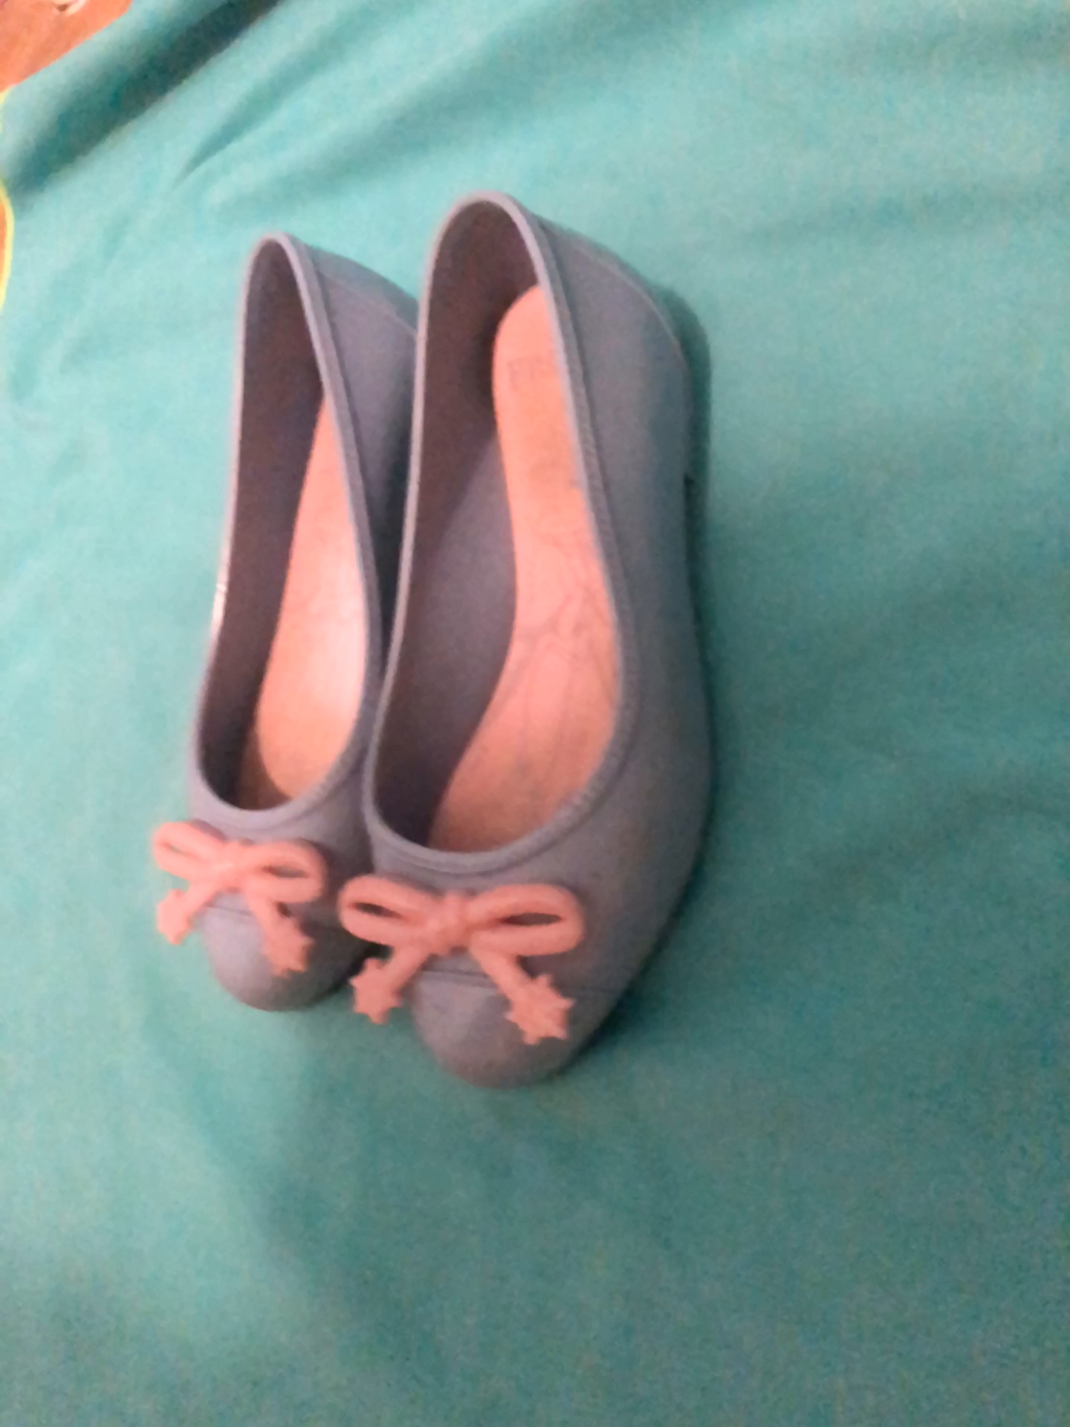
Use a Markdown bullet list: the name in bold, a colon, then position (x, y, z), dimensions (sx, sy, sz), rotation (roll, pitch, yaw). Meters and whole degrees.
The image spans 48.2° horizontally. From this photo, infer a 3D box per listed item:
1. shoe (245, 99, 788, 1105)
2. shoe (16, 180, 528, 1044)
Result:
- **shoe**: position (0.002, -0.020, 0.259), dimensions (0.080, 0.060, 0.190), rotation (-5, 73, 34)
- **shoe**: position (-0.060, -0.021, 0.298), dimensions (0.080, 0.060, 0.190), rotation (-5, 73, 34)
